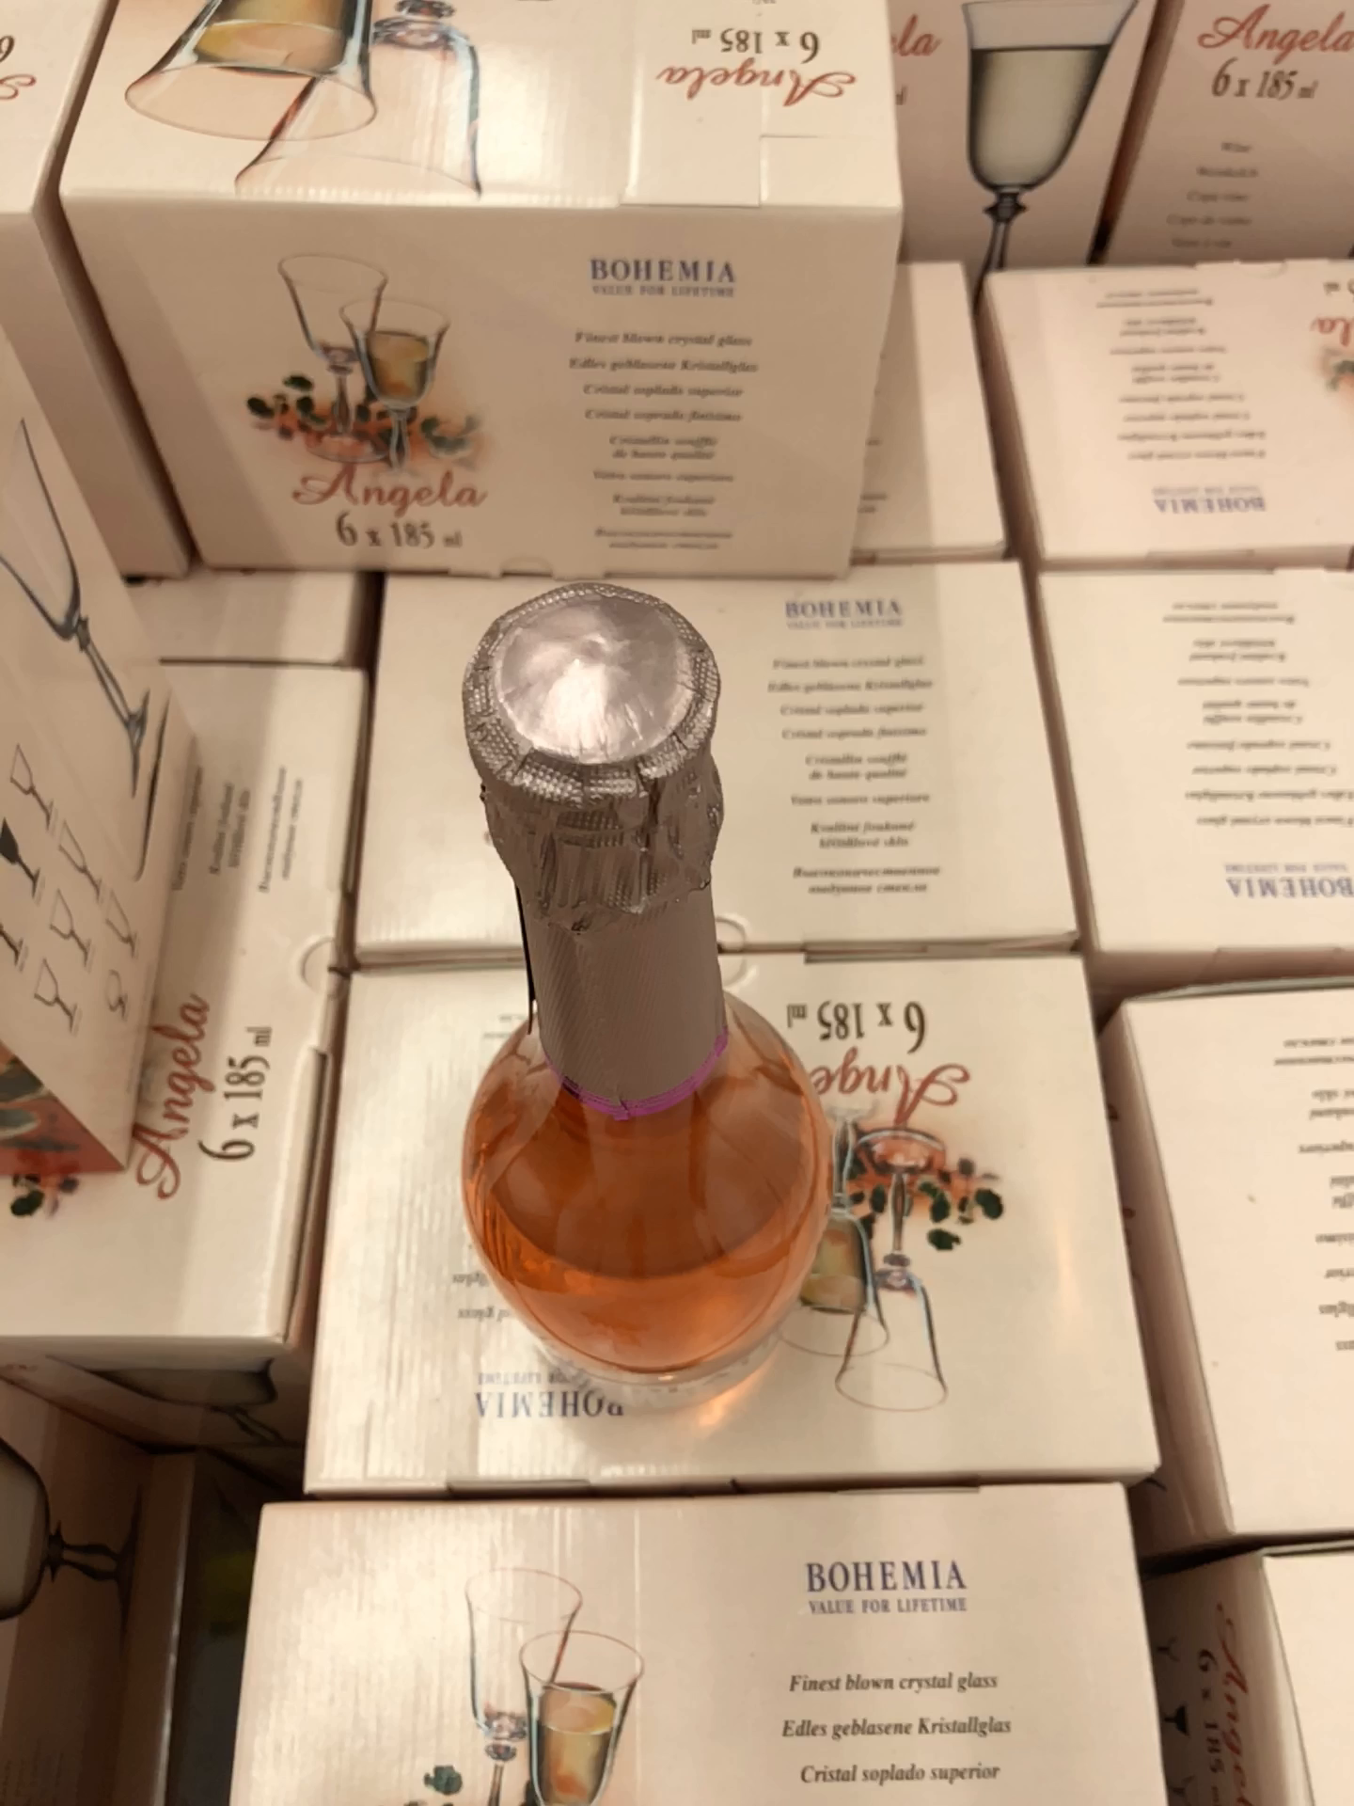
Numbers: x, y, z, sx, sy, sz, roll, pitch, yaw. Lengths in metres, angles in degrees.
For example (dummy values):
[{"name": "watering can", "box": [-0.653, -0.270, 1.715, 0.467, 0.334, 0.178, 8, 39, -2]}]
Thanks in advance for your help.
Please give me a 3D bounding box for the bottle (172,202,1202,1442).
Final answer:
[{"name": "bottle", "box": [-0.005, 0.026, 0.326, 0.100, 0.309, 0.100, 0, 63, -1]}]
